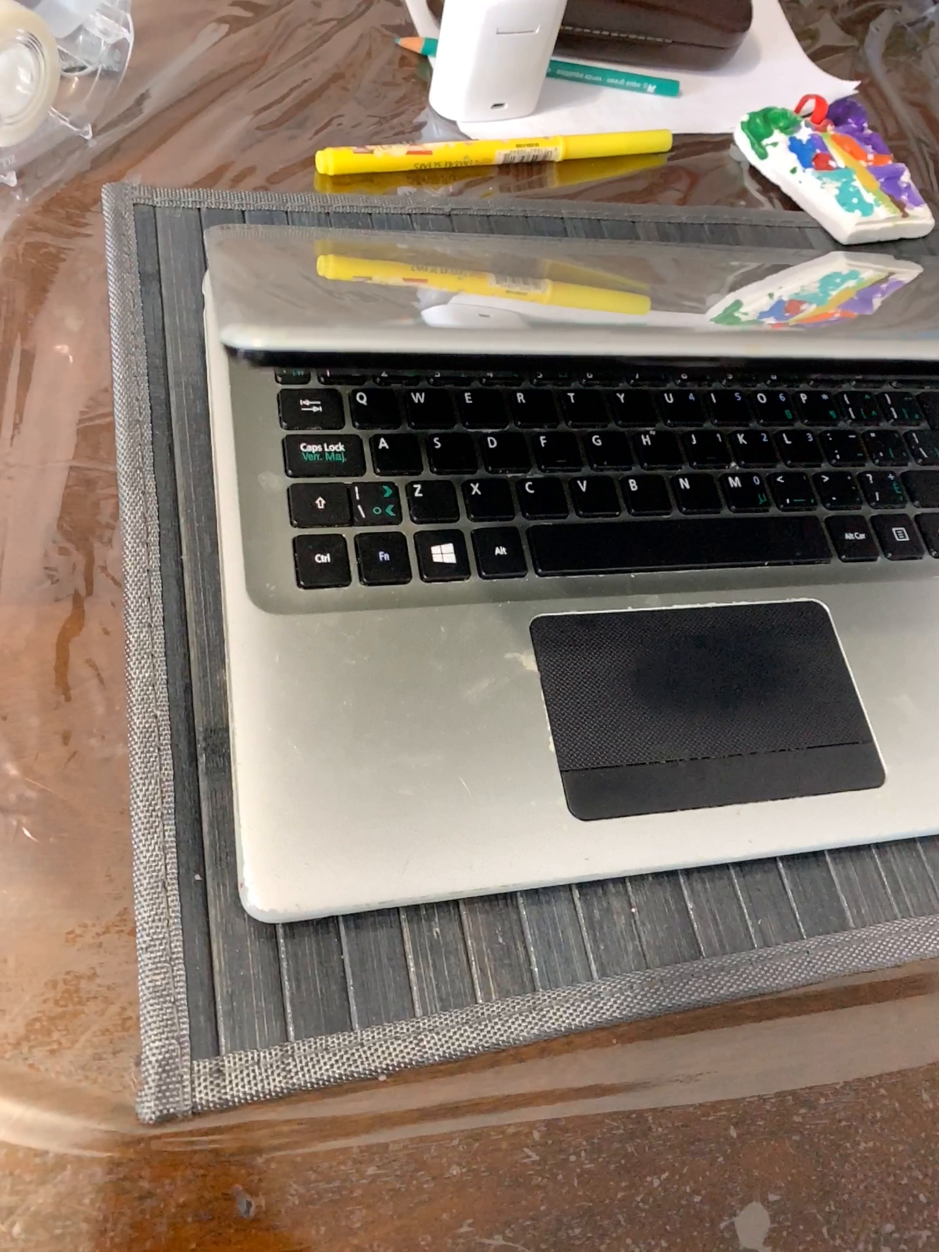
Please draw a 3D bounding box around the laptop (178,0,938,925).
[{"bbox_3d":[0.104,-0.070,0.280,0.344,0.145,0.236,-3,63,-15],"label":"laptop"}]
